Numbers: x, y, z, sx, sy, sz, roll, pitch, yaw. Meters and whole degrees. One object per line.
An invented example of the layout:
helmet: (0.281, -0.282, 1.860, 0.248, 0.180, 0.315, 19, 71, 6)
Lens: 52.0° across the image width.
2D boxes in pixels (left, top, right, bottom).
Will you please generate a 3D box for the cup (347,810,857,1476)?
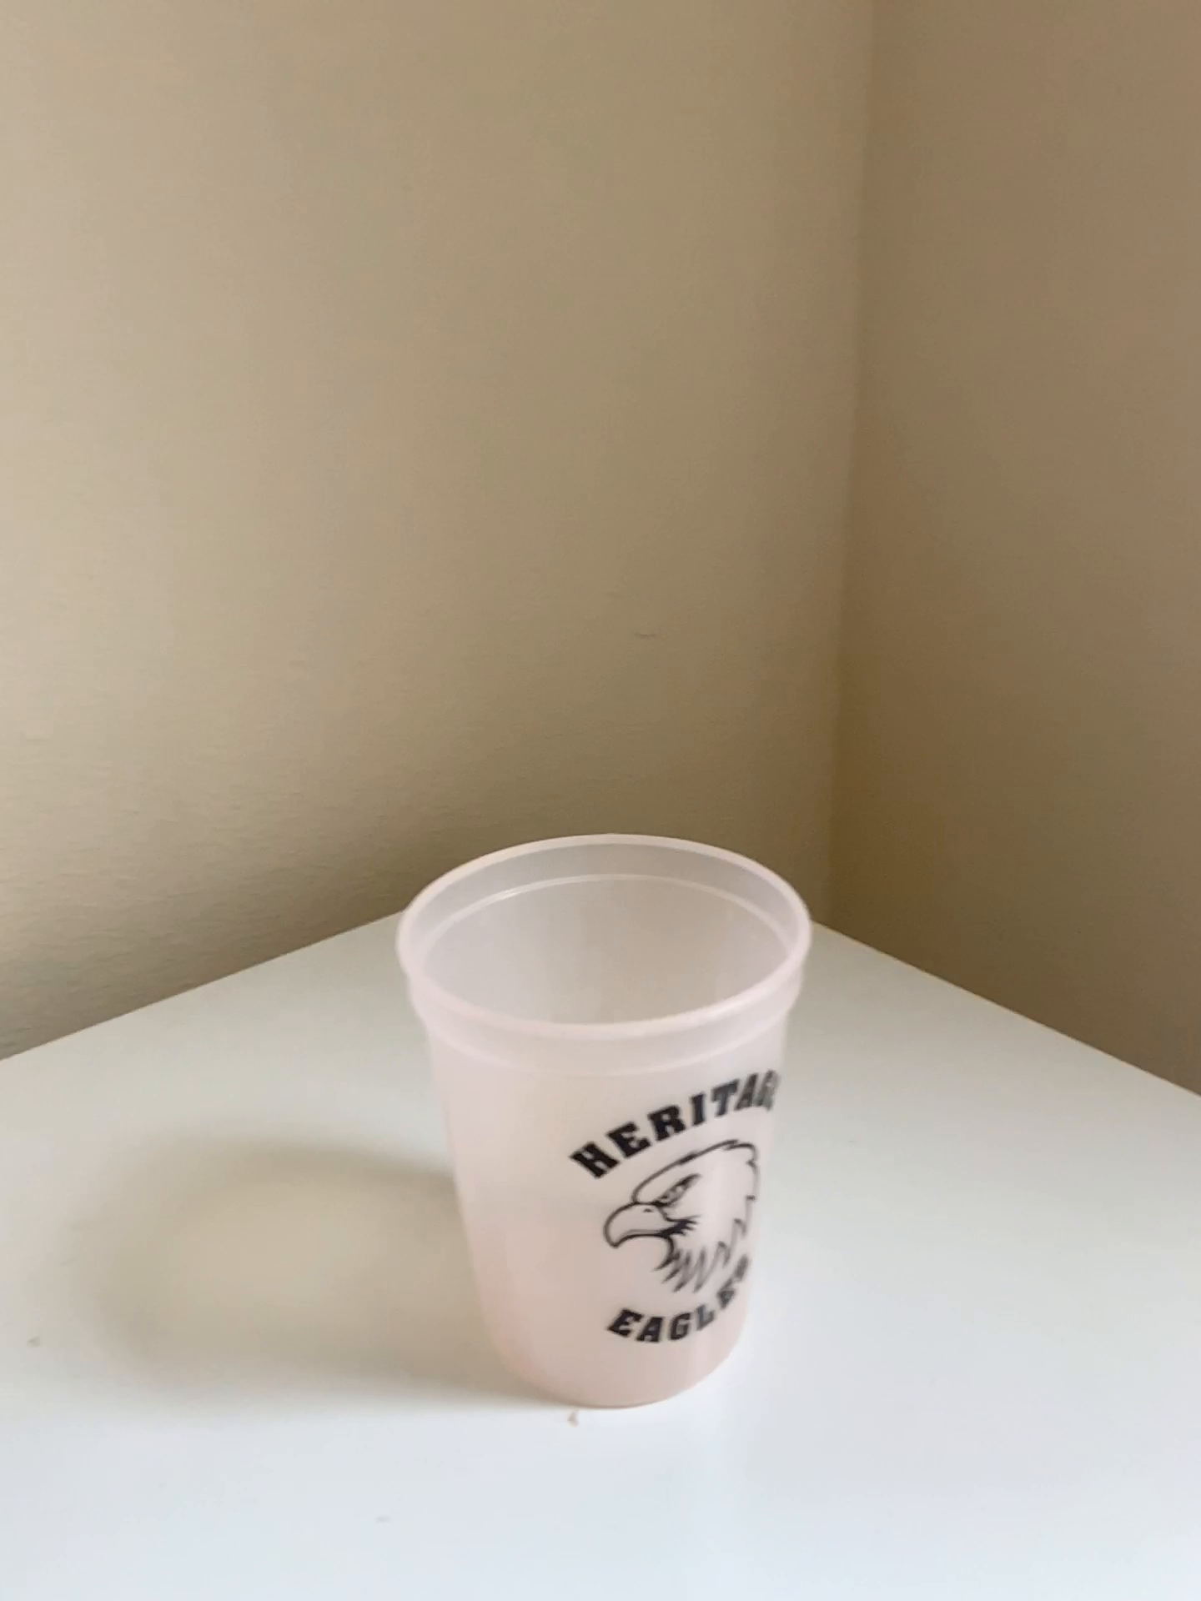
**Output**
cup: (-0.001, 0.075, 0.301, 0.090, 0.110, 0.080, -12, 24, -25)
